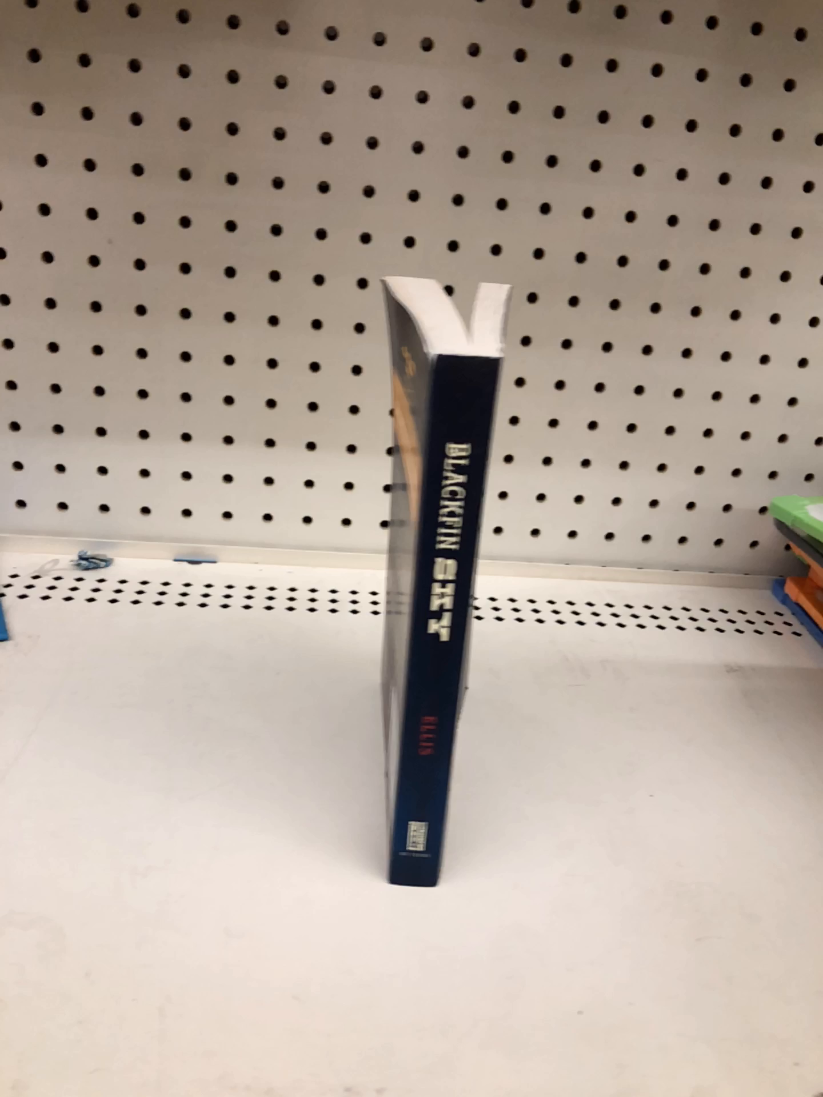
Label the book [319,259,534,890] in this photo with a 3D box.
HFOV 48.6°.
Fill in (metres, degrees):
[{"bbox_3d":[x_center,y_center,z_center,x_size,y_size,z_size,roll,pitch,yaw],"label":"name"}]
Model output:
[{"bbox_3d":[-0.001,0.002,0.367,0.059,0.205,0.151,2,25,-2],"label":"book"}]
